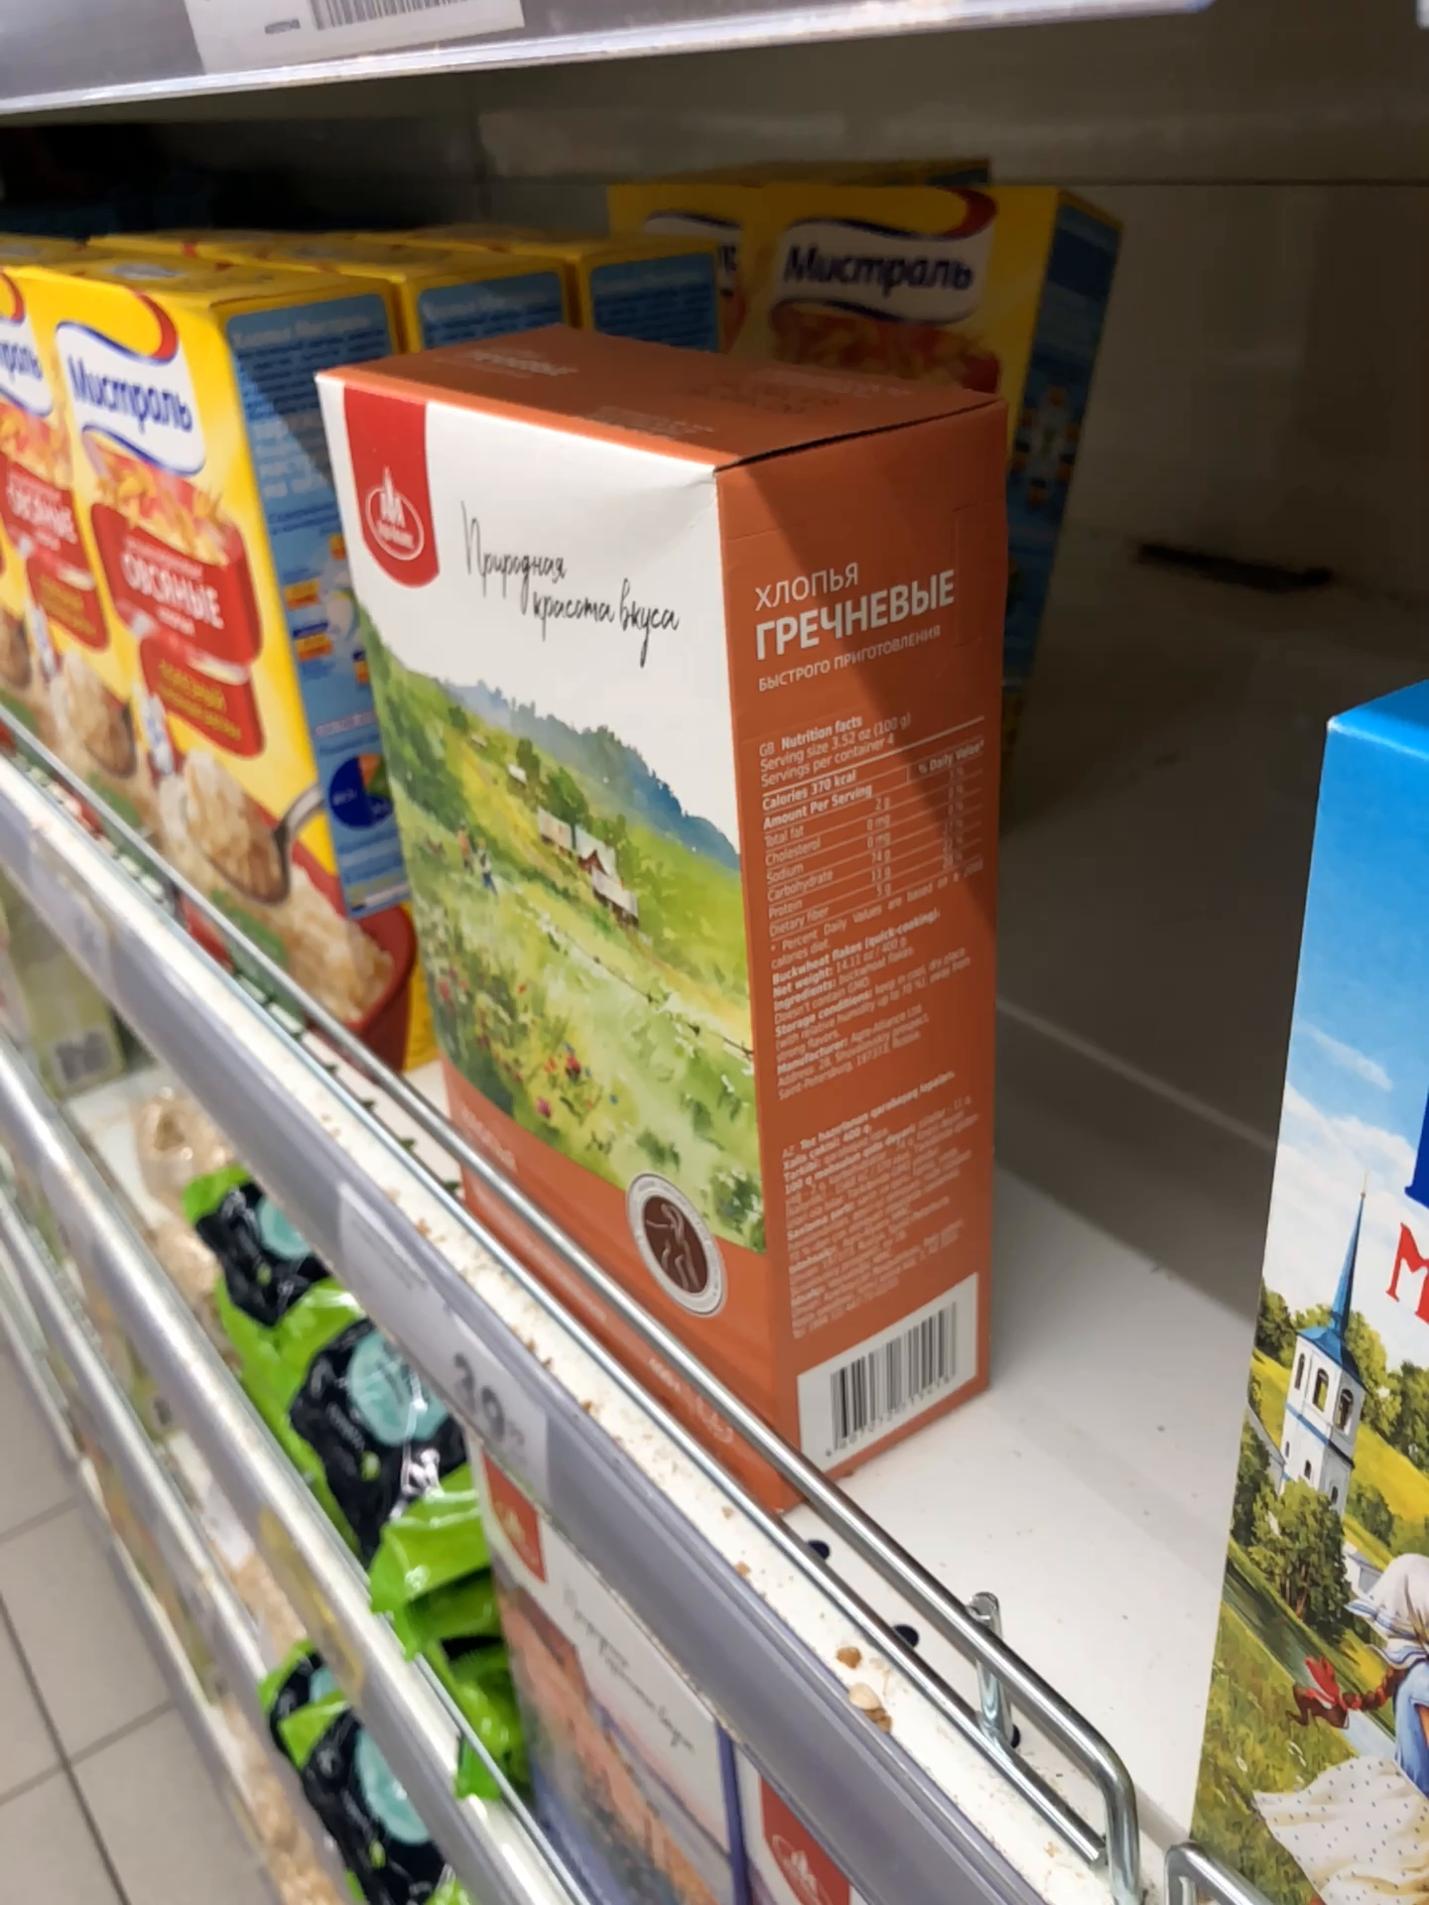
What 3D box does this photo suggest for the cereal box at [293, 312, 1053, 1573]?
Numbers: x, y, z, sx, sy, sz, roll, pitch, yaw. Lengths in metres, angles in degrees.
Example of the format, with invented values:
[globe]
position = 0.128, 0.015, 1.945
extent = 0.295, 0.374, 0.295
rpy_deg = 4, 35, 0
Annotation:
[cereal box]
position = -0.009, -0.008, 0.305
extent = 0.060, 0.199, 0.130
rpy_deg = -21, 33, -29
